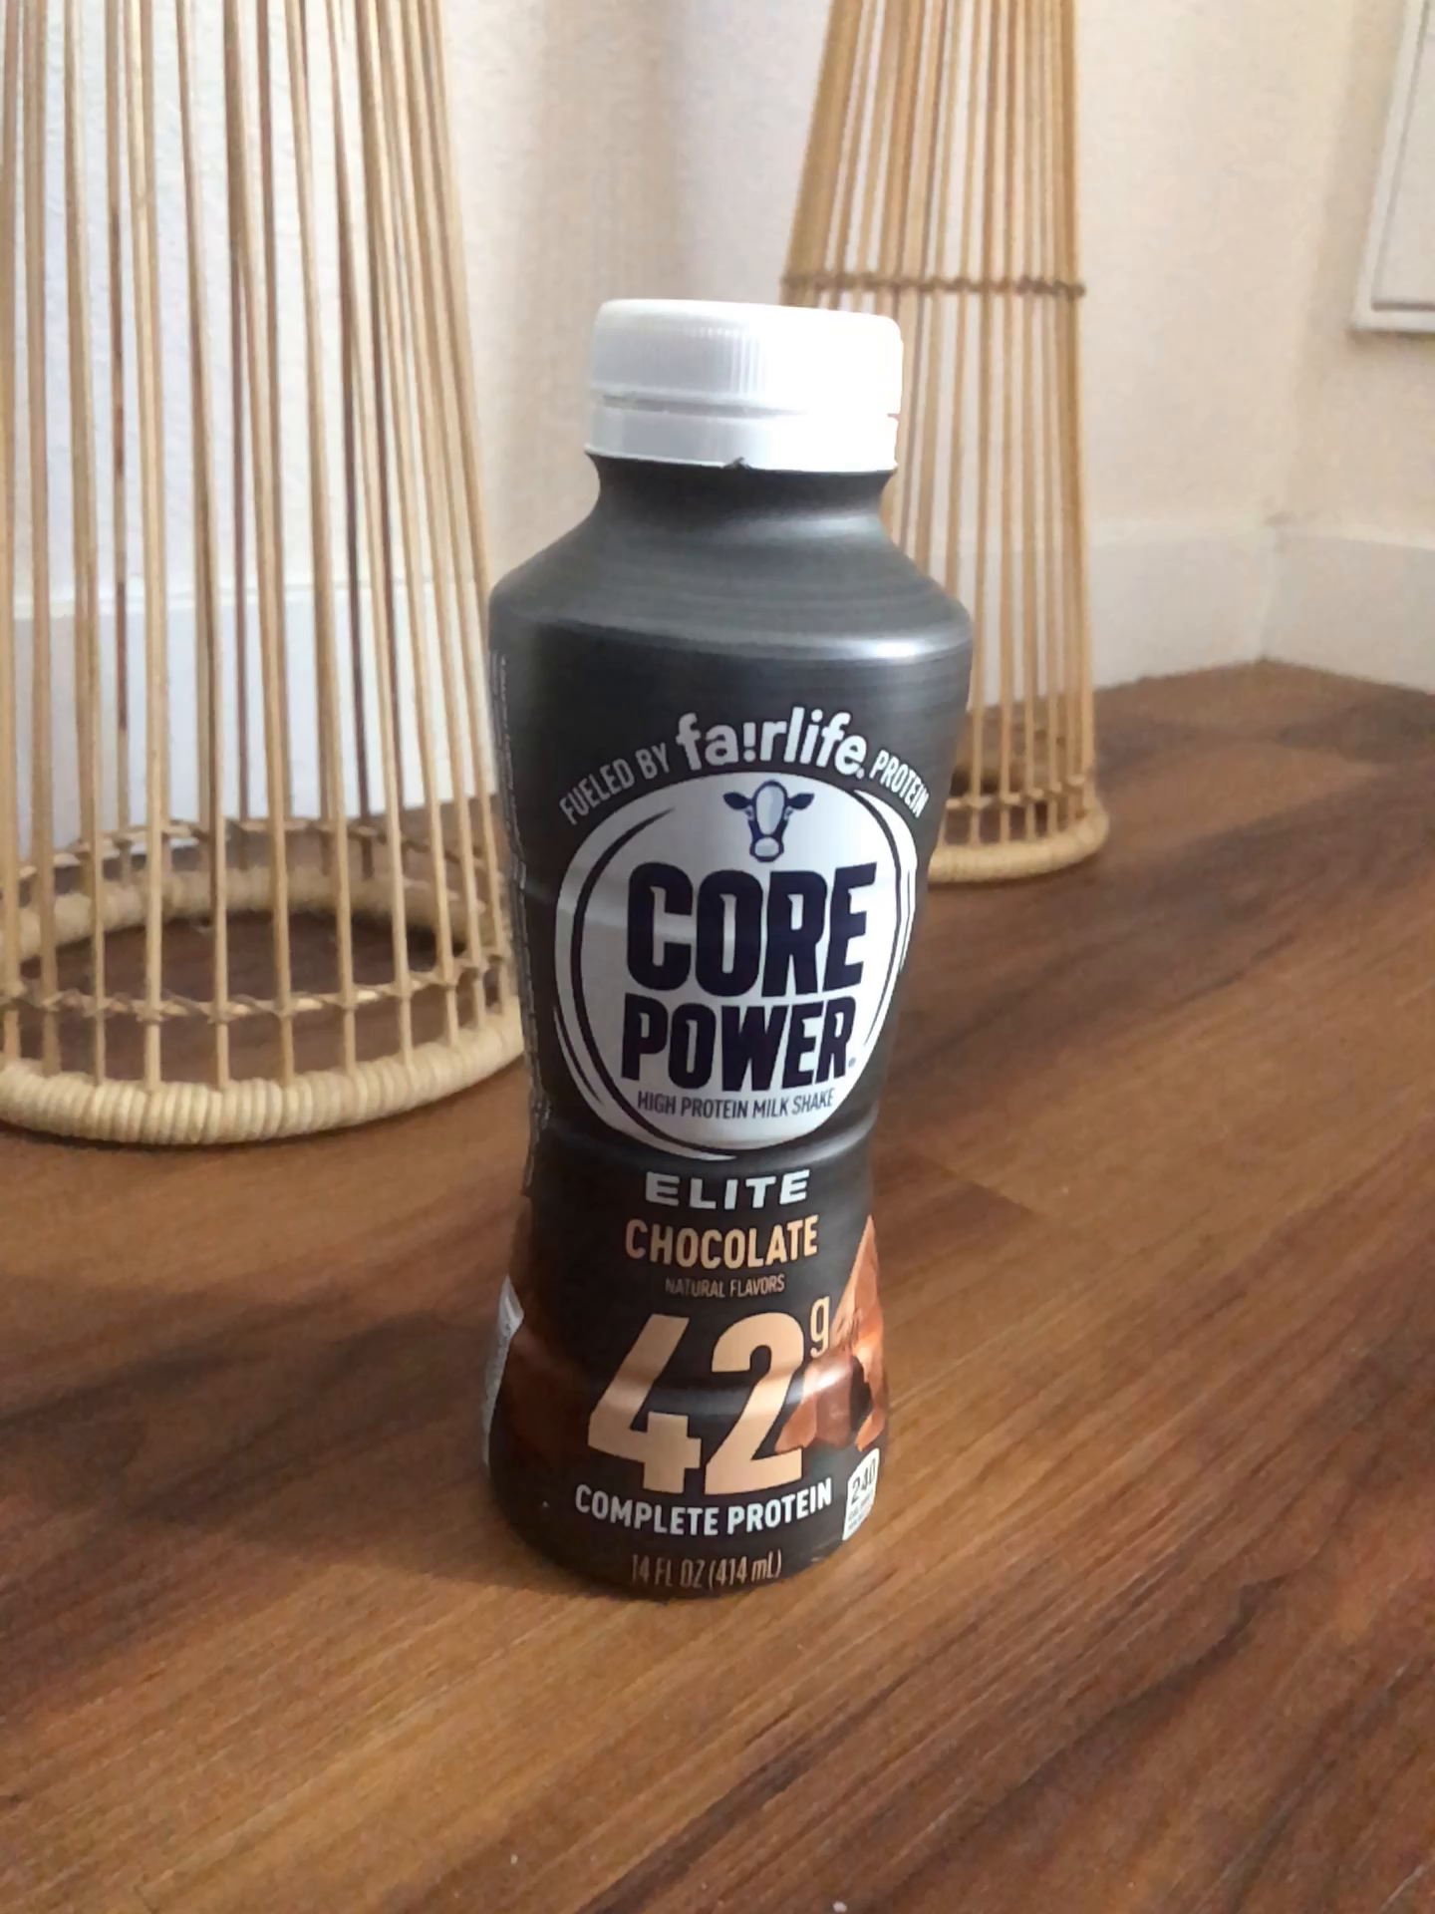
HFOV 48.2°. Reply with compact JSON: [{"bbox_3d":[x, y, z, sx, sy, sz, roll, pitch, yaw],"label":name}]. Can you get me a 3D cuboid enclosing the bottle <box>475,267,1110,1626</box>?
[{"bbox_3d":[0.000,-0.001,0.242,0.070,0.184,0.070,3,20,-1],"label":"bottle"}]
